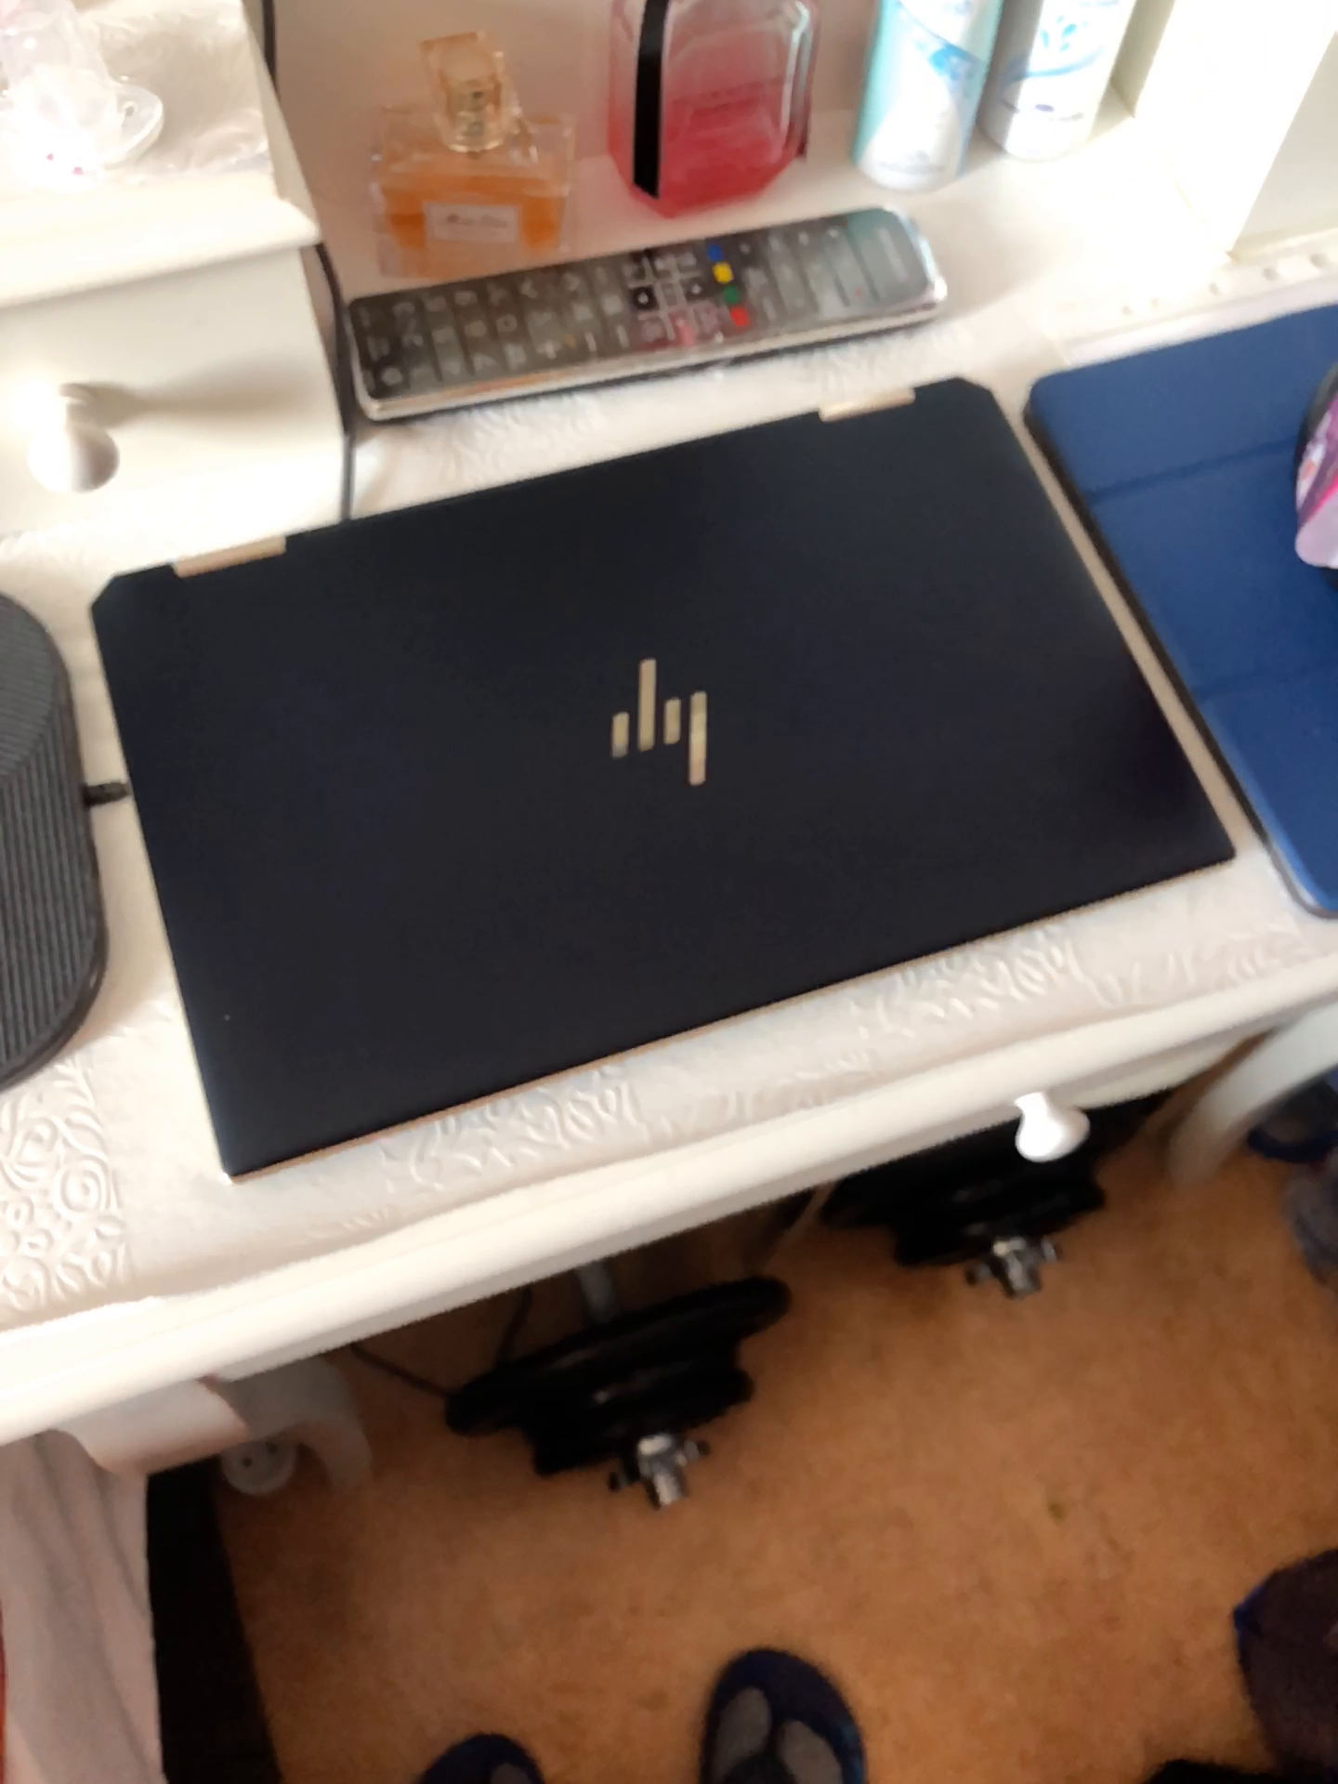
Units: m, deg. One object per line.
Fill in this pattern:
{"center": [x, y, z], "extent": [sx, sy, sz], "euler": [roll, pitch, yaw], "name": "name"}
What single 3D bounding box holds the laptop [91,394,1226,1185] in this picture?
{"center": [0.002, -0.043, 0.398], "extent": [0.267, 0.007, 0.160], "euler": [-16, 72, -17], "name": "laptop"}
